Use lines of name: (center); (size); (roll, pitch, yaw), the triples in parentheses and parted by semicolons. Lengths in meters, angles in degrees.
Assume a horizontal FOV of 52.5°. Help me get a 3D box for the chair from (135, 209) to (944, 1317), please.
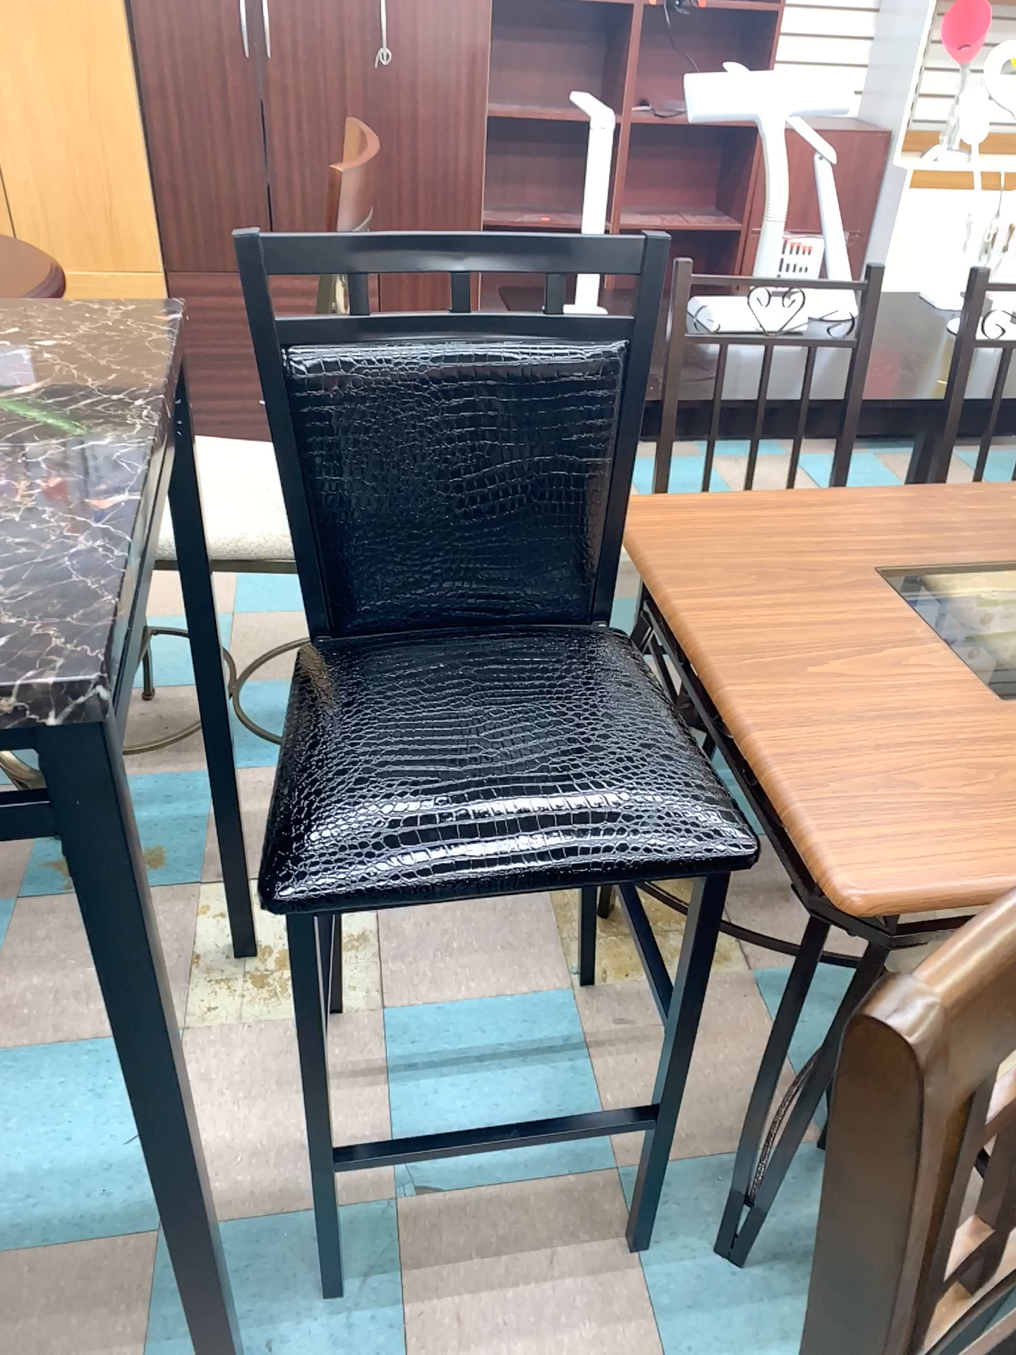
chair: (-0.019, 0.136, 1.019); (0.444, 1.025, 0.419); (-3, 35, -8)
